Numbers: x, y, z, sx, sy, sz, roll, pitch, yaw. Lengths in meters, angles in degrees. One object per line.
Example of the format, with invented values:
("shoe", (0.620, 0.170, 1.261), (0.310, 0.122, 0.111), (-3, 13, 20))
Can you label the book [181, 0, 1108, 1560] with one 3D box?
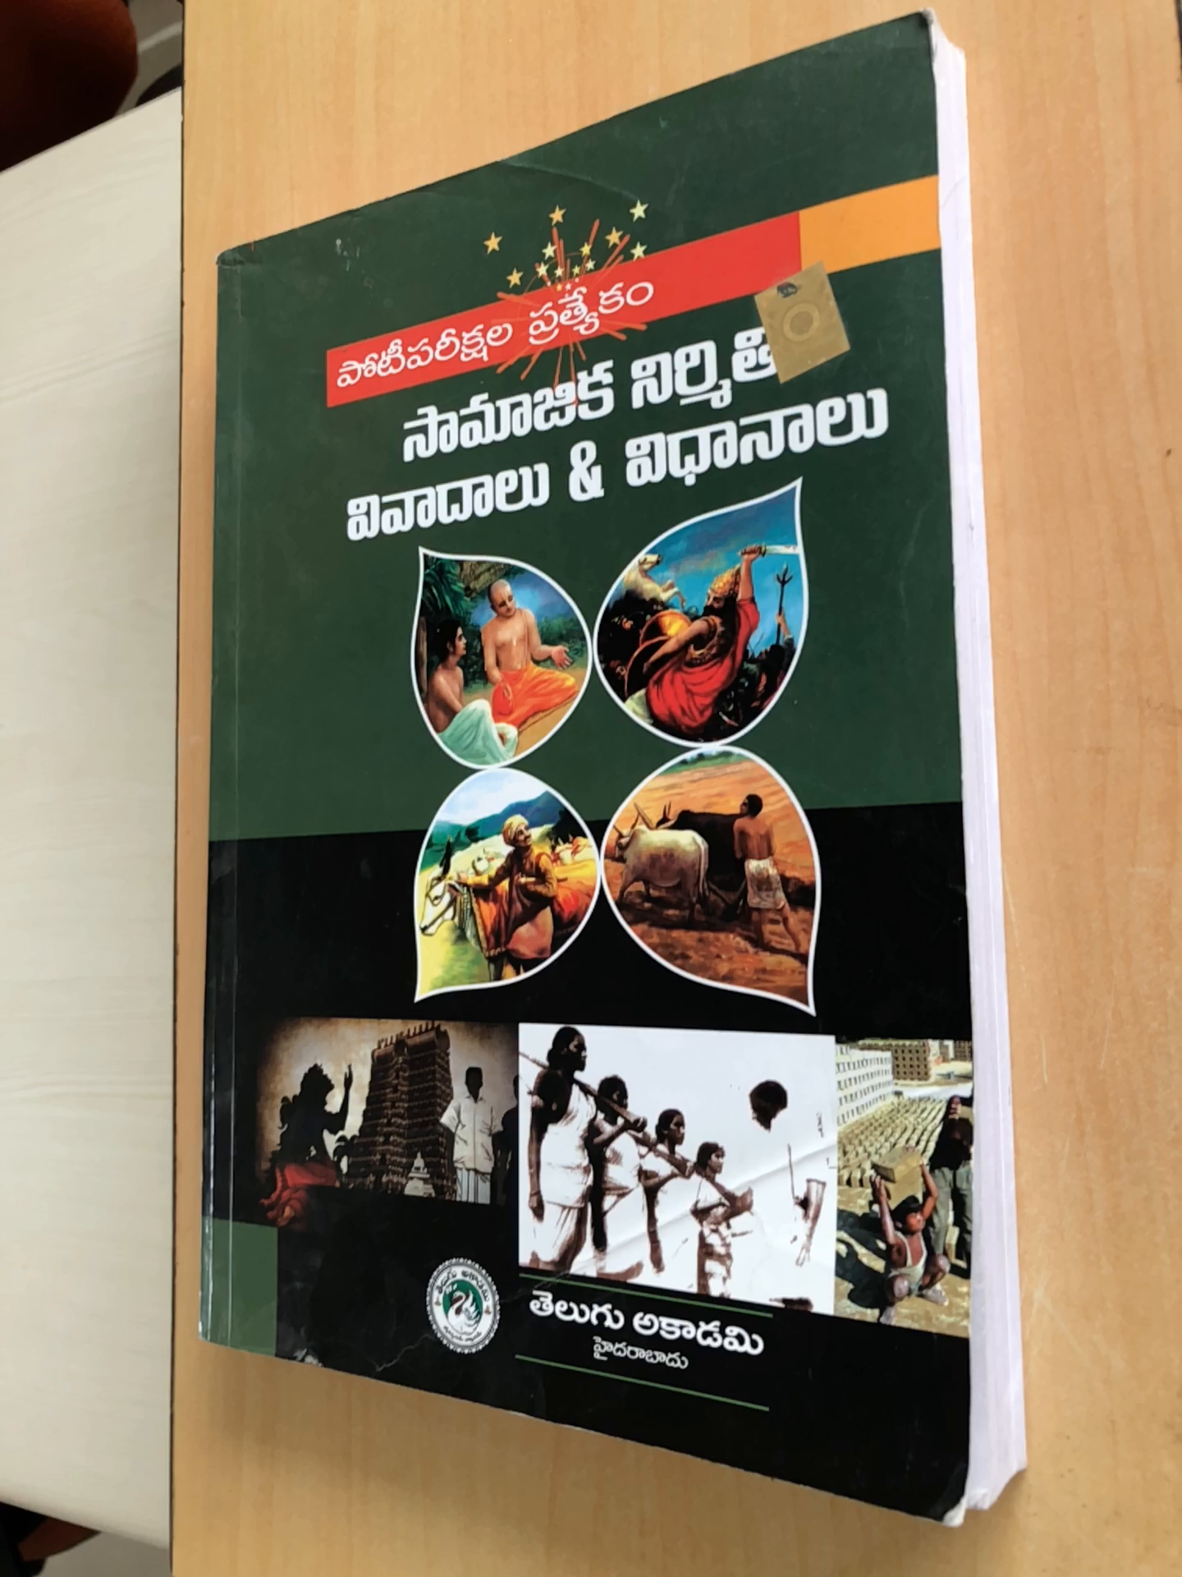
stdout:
("book", (0.001, -0.007, 0.287), (0.191, 0.050, 0.270), (-4, 83, 29))
